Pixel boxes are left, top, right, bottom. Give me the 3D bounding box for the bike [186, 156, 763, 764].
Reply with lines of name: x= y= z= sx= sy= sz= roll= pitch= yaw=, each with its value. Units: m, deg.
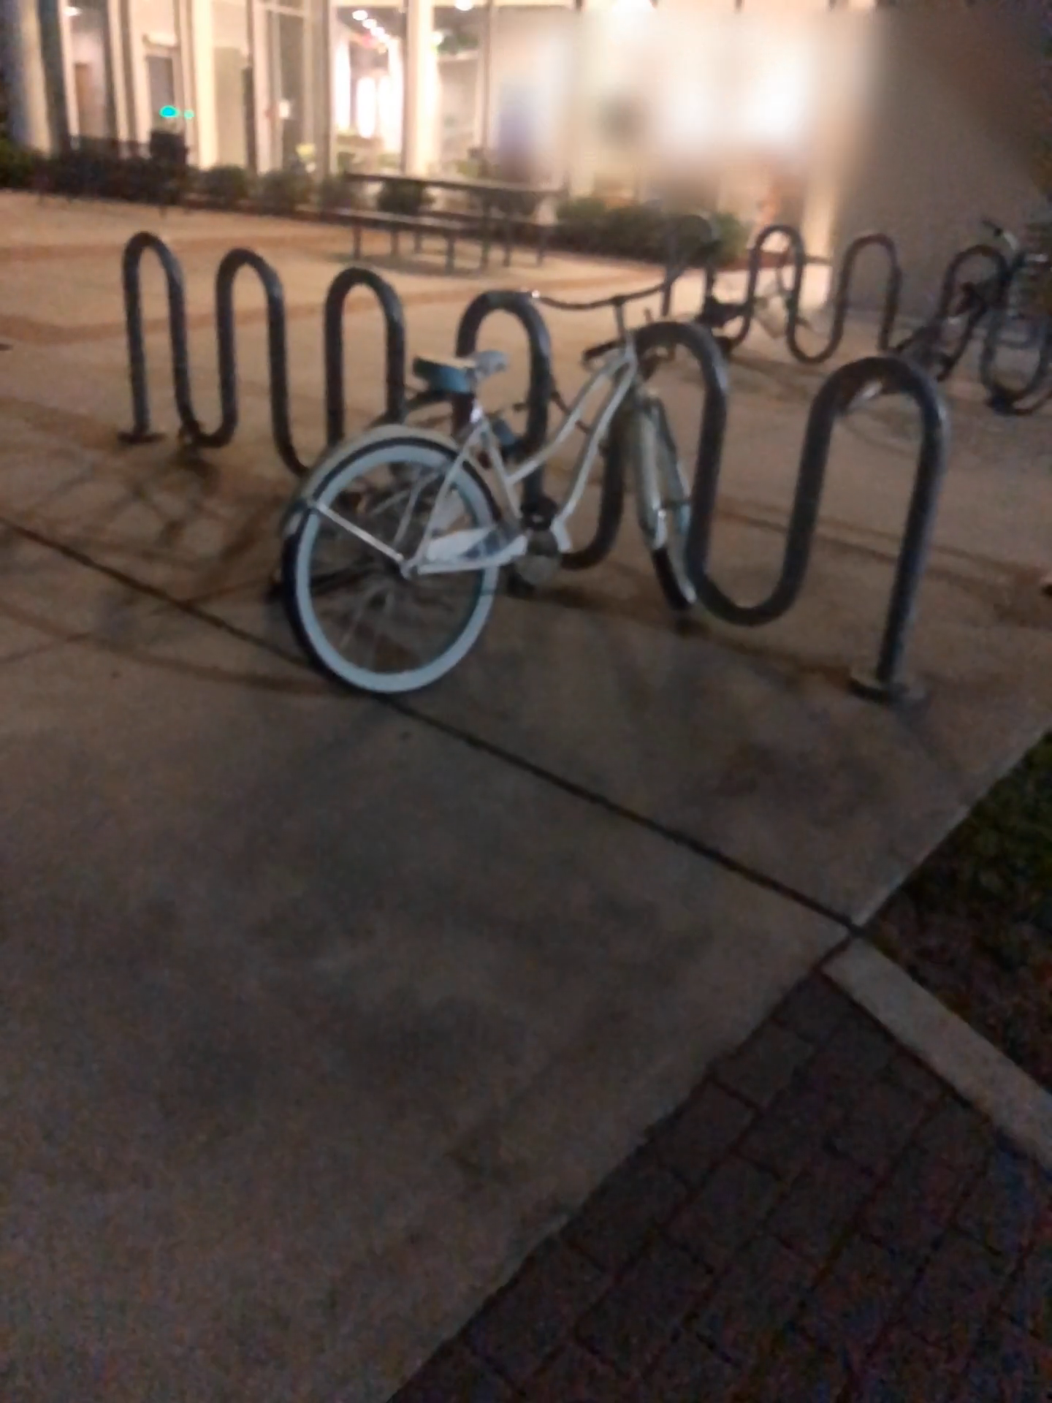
bike: x=-0.082 y=-0.838 z=3.269 sx=0.741 sy=1.094 sz=1.686 roll=21 pitch=34 yaw=33
